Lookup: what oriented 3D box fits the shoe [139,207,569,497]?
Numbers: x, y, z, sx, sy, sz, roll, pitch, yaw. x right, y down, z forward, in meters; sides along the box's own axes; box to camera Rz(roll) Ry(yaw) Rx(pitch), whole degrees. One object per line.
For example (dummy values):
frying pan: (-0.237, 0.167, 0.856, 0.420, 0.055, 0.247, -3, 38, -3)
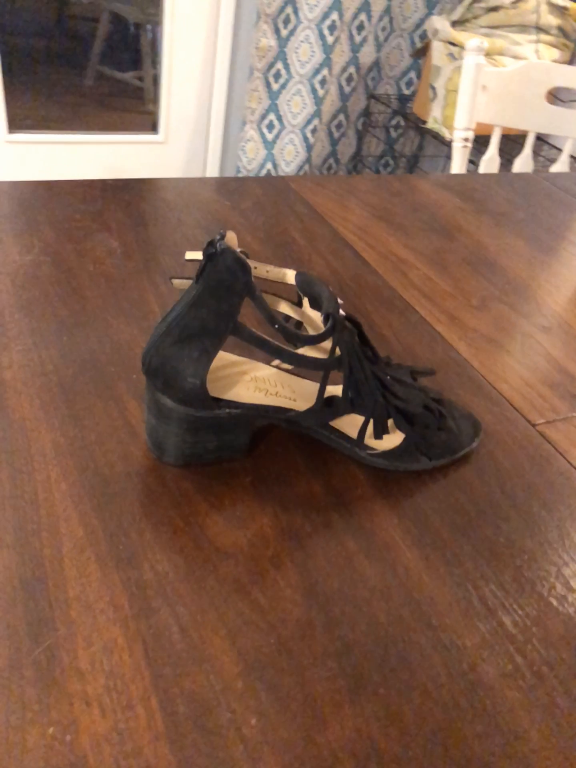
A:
shoe: (0.026, -0.017, 0.425, 0.240, 0.149, 0.100, 0, 40, -14)
